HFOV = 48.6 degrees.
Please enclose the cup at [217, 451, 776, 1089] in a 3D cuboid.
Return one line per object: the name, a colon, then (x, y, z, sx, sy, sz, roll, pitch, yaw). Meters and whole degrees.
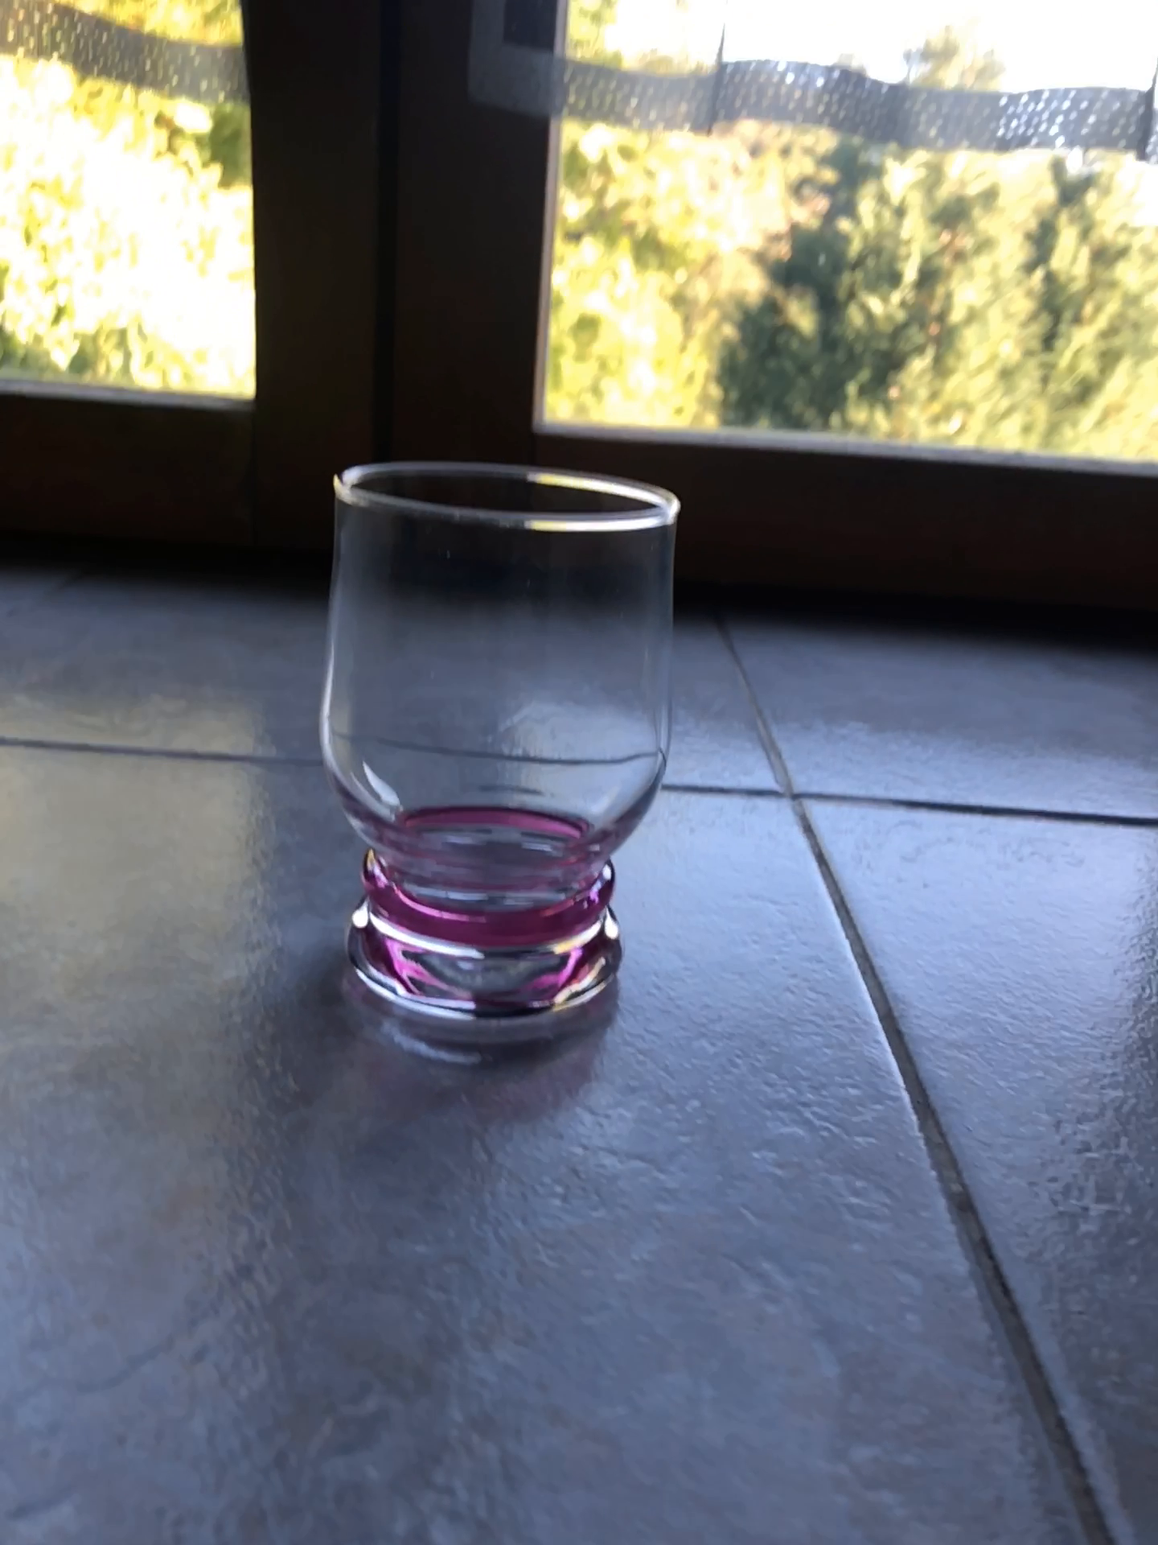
cup: (-0.022, -0.009, 0.268, 0.079, 0.102, 0.079, 5, 20, -2)
